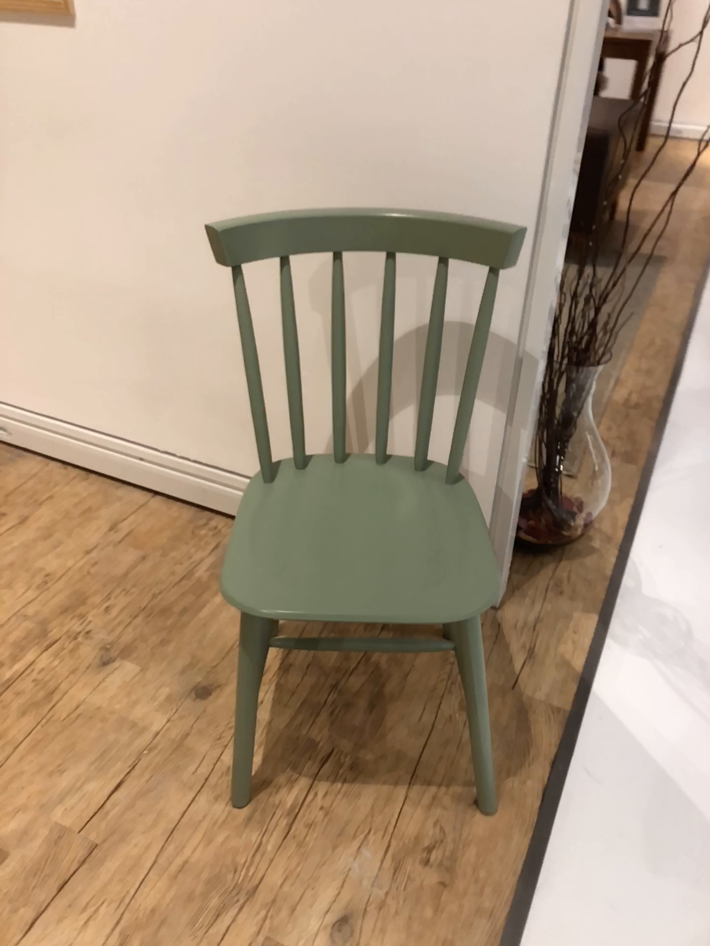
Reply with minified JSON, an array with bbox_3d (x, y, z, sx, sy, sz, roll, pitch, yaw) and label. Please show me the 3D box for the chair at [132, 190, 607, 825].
[{"bbox_3d":[0.012,0.055,1.216,0.470,0.813,0.524,2,33,1],"label":"chair"}]
